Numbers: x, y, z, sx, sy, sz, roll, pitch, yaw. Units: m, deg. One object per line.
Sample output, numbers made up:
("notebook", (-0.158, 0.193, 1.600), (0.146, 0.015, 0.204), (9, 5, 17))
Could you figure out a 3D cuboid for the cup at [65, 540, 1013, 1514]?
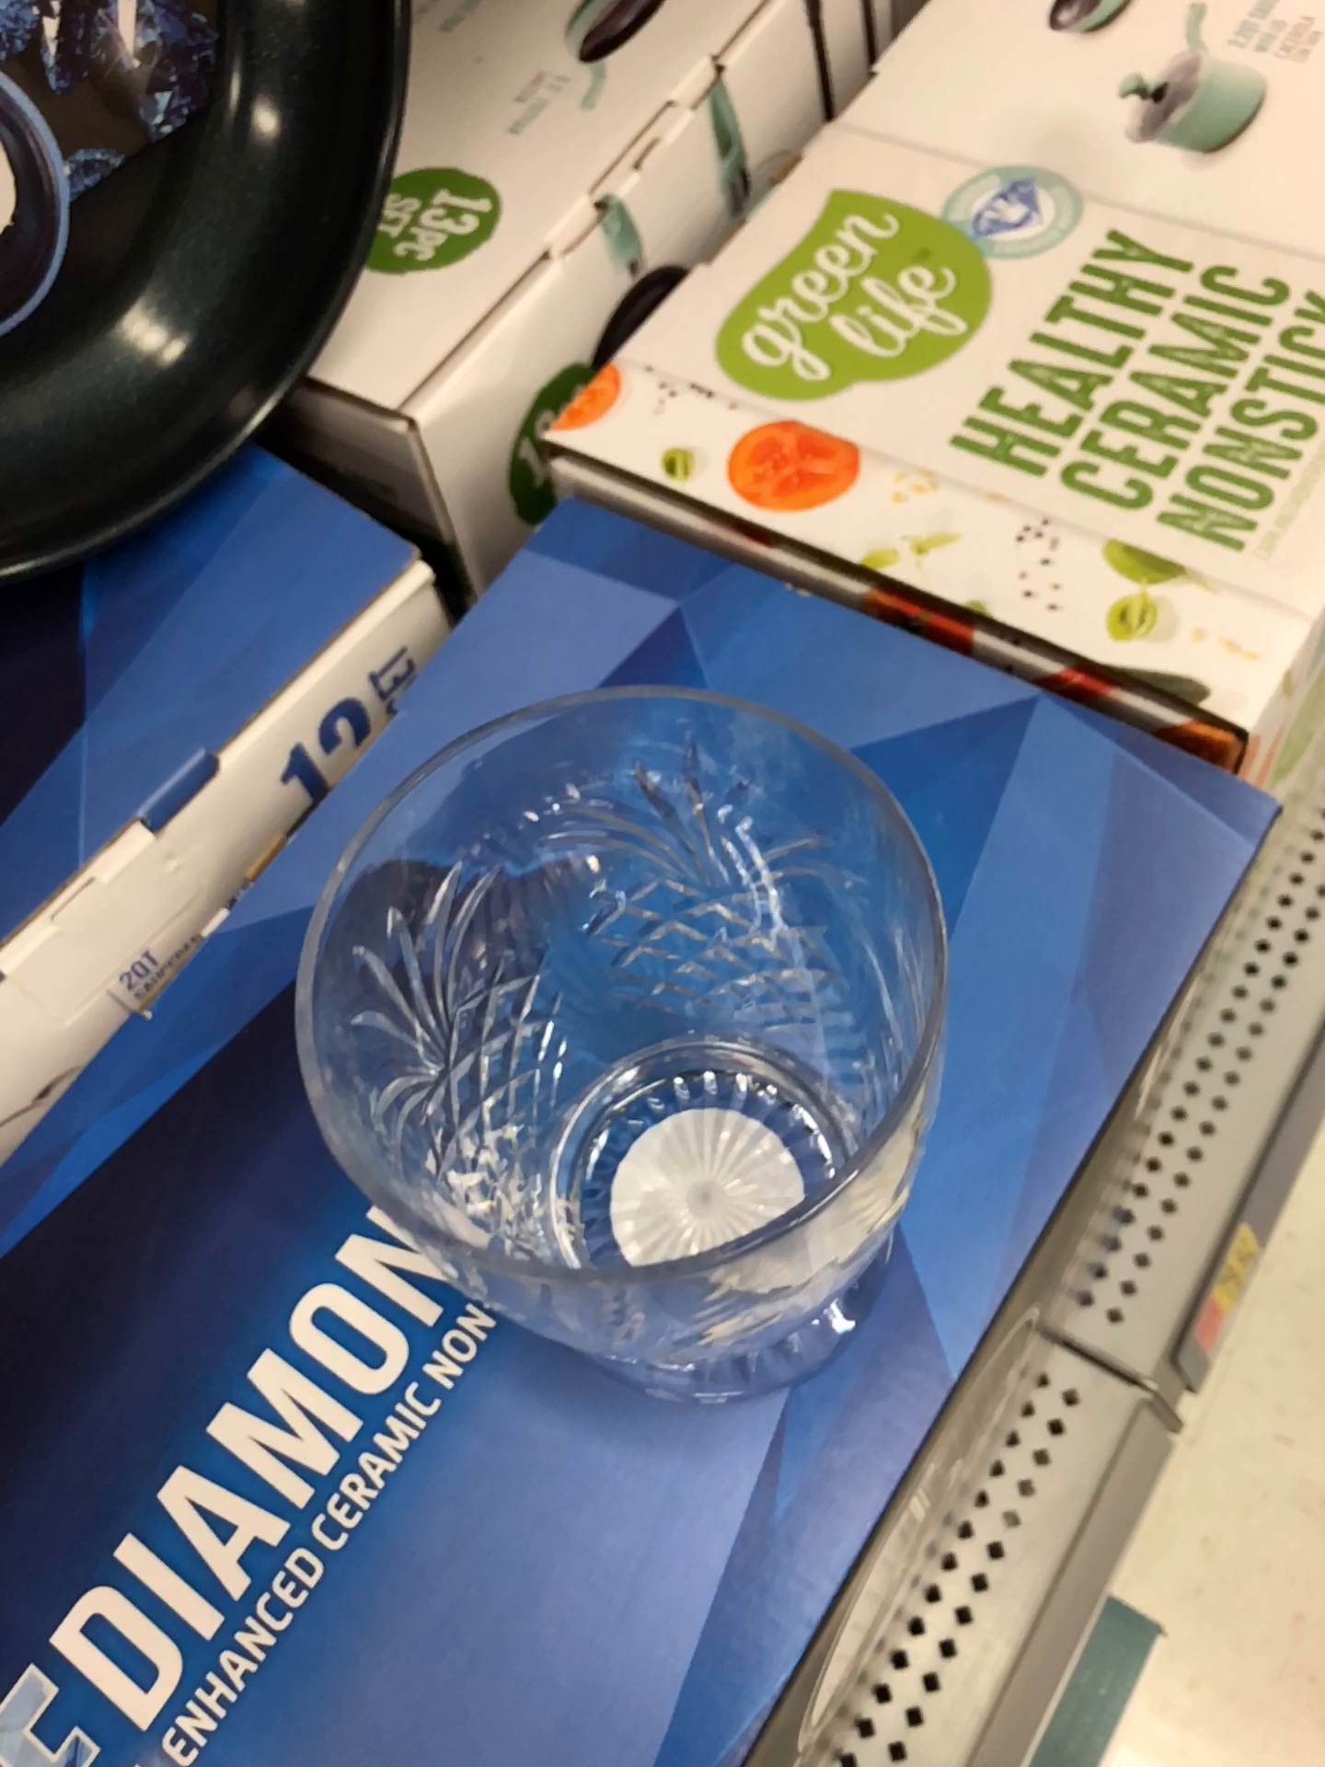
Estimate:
("cup", (-0.008, 0.029, 0.238), (0.088, 0.113, 0.092), (-3, 61, 6))
